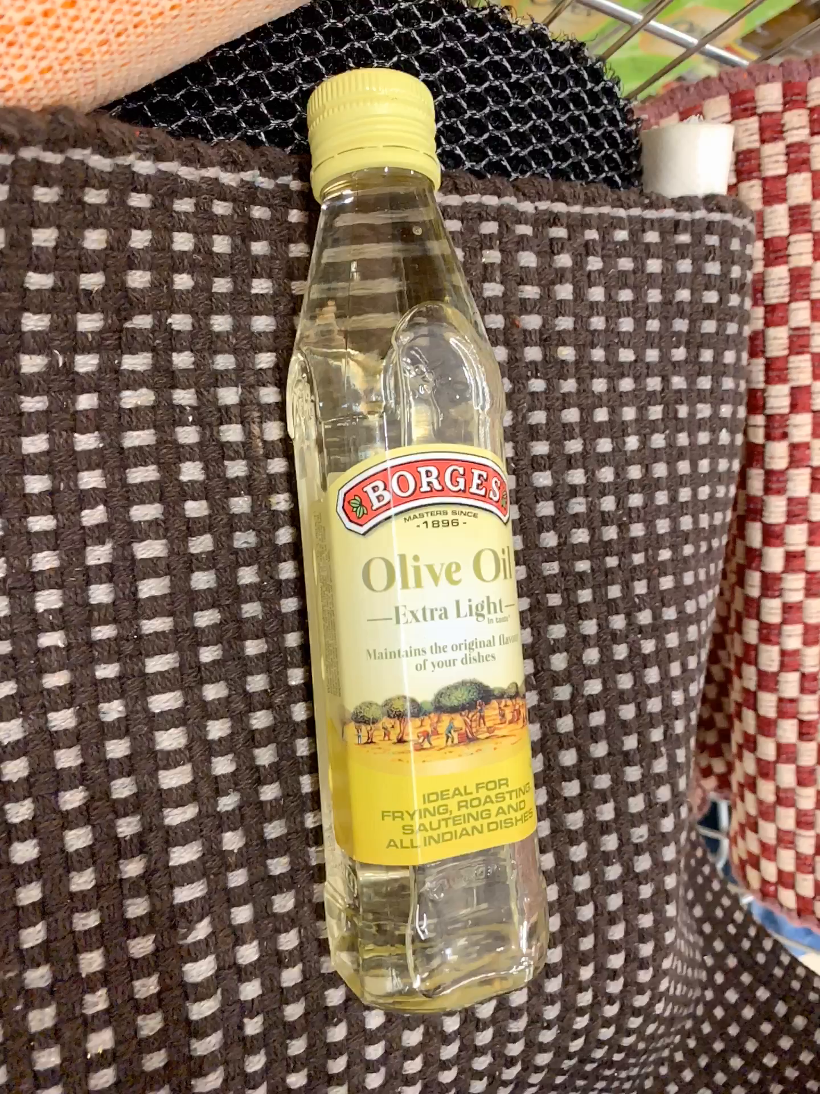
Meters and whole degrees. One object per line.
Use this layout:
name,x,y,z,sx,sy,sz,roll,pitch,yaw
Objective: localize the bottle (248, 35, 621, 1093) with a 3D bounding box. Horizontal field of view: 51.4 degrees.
bottle,0.004,0.004,0.189,0.060,0.040,0.200,-3,90,-25
